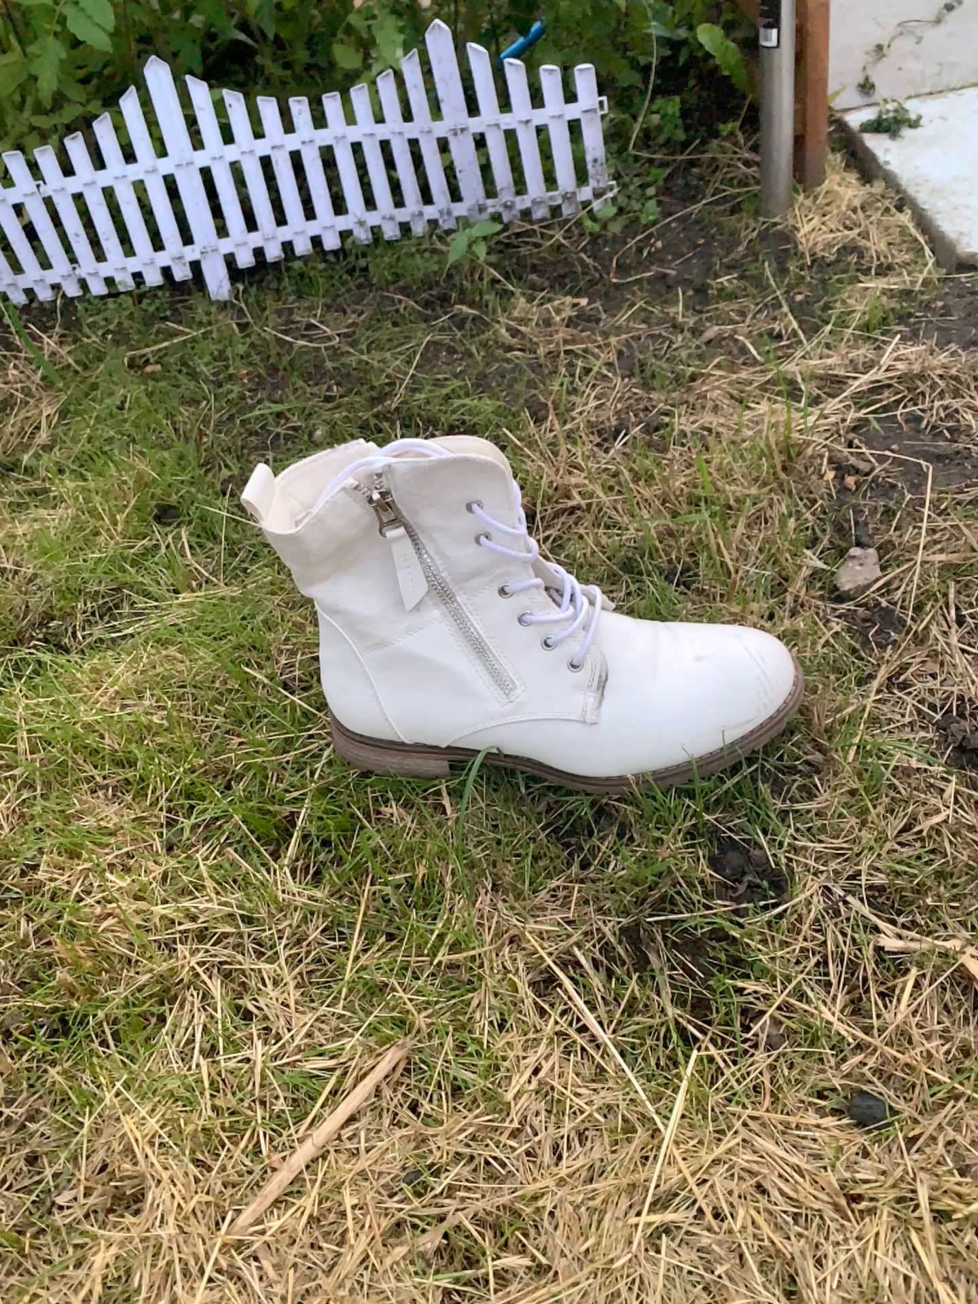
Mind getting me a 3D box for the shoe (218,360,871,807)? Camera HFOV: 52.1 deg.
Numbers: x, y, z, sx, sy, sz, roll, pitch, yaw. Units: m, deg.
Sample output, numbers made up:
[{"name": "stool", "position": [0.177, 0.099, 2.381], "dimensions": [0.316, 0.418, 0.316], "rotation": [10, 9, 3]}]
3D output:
[{"name": "shoe", "position": [0.033, -0.022, 0.493], "dimensions": [0.260, 0.178, 0.101], "rotation": [-4, 46, 10]}]
